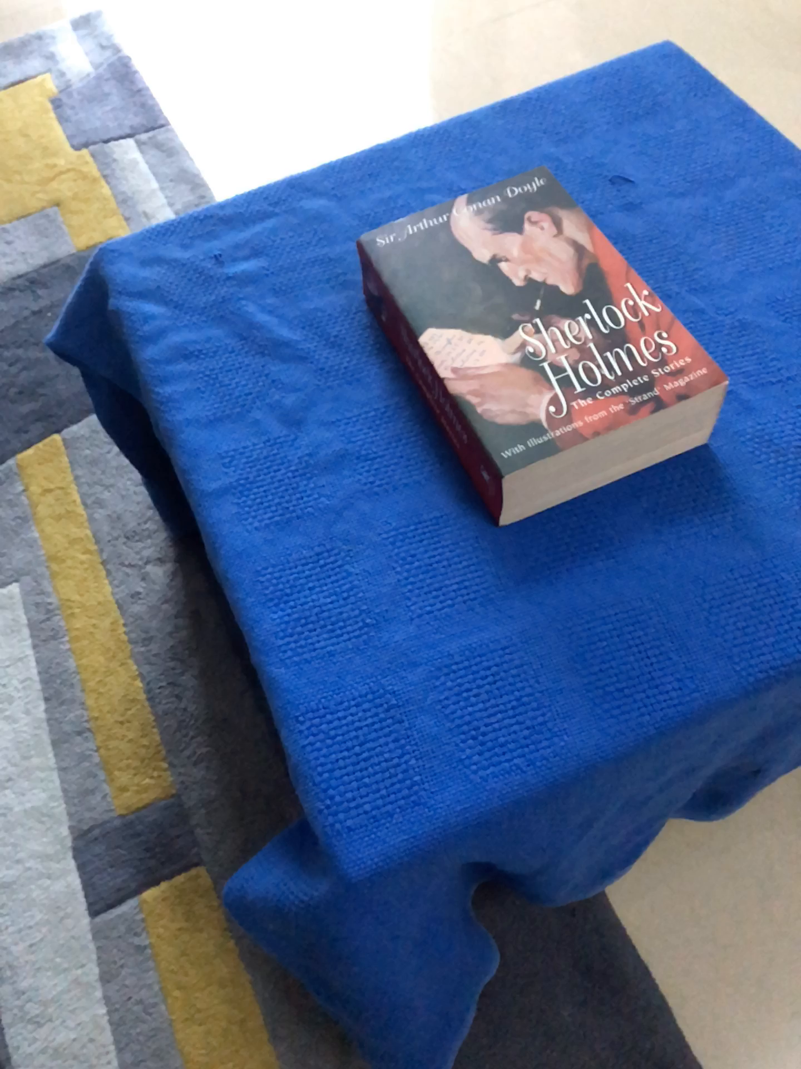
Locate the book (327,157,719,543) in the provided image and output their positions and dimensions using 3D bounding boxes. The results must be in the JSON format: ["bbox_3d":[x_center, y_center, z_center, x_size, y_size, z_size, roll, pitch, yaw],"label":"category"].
[{"bbox_3d":[0.071,-0.135,0.604,0.160,0.070,0.241,-23,59,-7],"label":"book"}]
